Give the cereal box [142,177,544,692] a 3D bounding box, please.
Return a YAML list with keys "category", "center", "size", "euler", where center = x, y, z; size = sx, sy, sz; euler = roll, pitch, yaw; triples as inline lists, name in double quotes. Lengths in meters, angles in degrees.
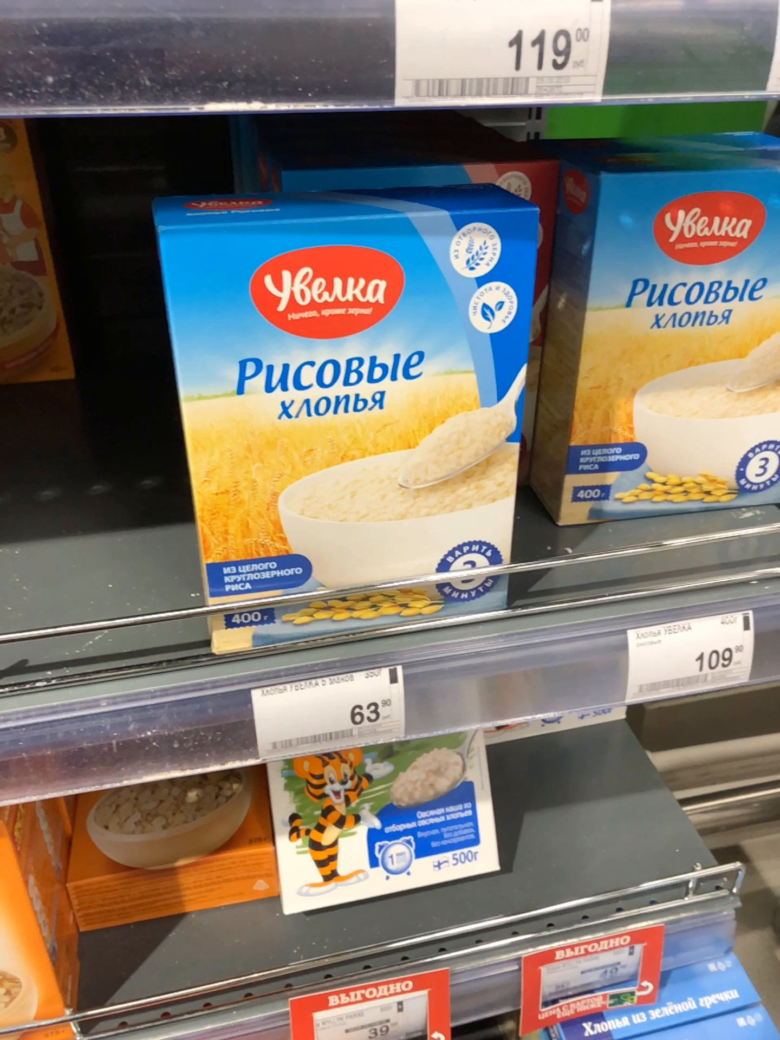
- category: "cereal box"
  center: [-0.020, -0.034, 0.373]
  size: [0.140, 0.199, 0.060]
  euler: [-8, 31, -14]
